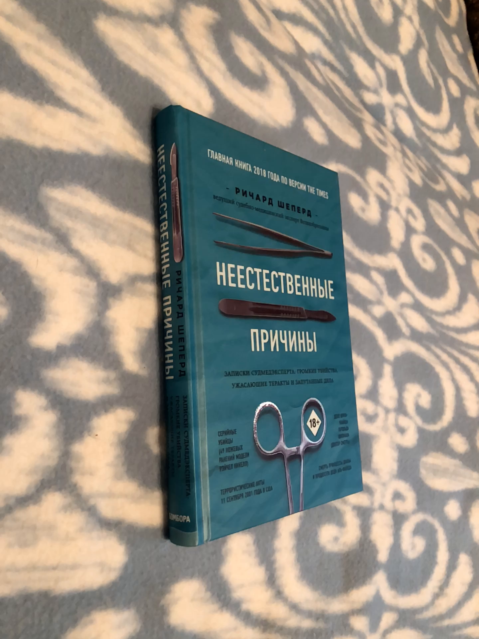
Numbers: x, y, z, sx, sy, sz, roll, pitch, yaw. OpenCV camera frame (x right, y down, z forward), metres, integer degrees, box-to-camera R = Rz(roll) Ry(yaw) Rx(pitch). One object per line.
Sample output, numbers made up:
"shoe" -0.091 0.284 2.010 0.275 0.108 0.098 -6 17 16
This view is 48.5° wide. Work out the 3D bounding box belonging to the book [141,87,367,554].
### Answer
"book" 0.015 0.000 0.308 0.149 0.025 0.218 4 80 -46
